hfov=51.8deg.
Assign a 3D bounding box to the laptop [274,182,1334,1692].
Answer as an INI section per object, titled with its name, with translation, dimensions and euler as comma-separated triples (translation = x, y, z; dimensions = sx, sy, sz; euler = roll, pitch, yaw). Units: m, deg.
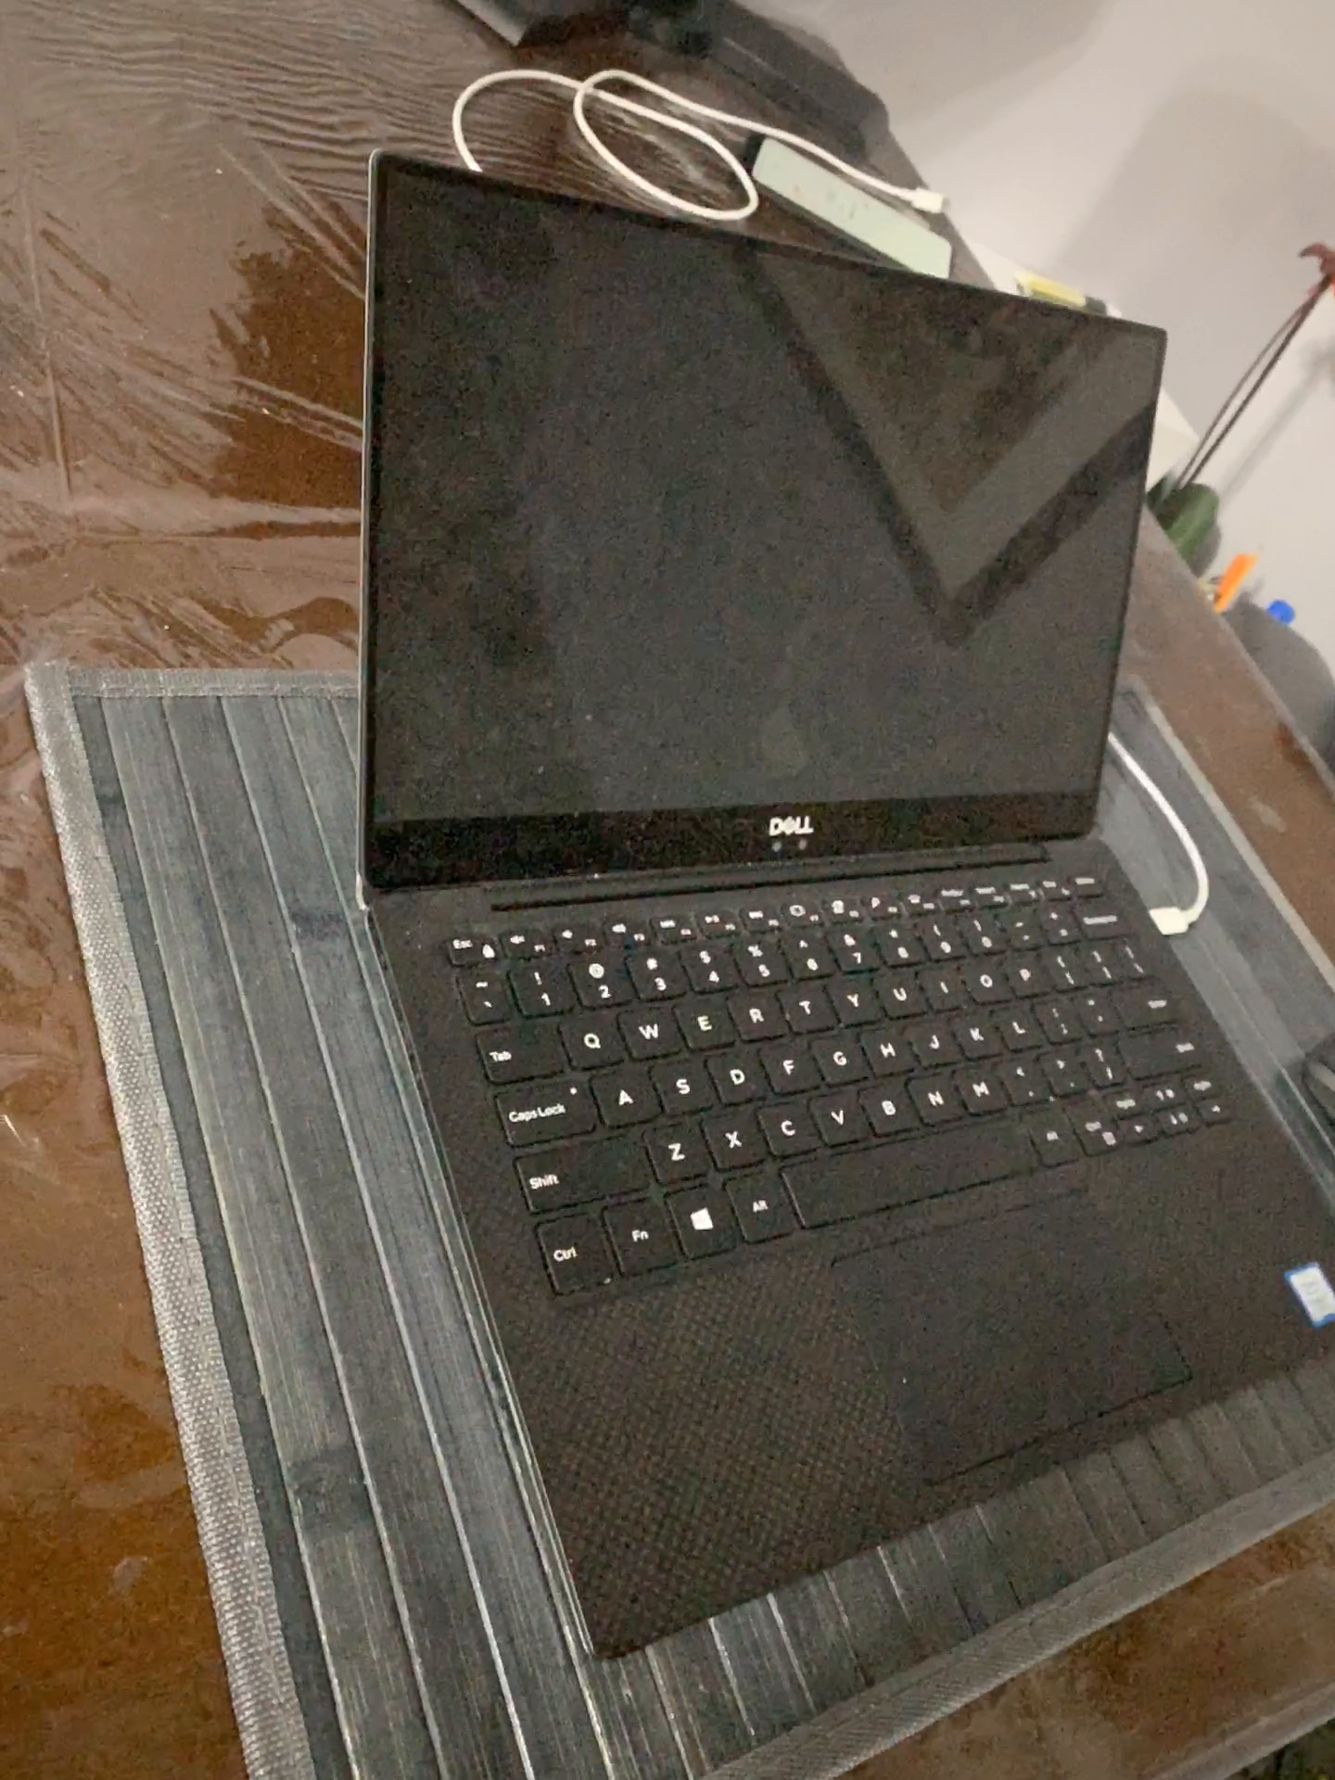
[laptop]
translation = 0.082, -0.013, 0.366
dimensions = 0.282, 0.129, 0.298
euler = -5, 58, -33
